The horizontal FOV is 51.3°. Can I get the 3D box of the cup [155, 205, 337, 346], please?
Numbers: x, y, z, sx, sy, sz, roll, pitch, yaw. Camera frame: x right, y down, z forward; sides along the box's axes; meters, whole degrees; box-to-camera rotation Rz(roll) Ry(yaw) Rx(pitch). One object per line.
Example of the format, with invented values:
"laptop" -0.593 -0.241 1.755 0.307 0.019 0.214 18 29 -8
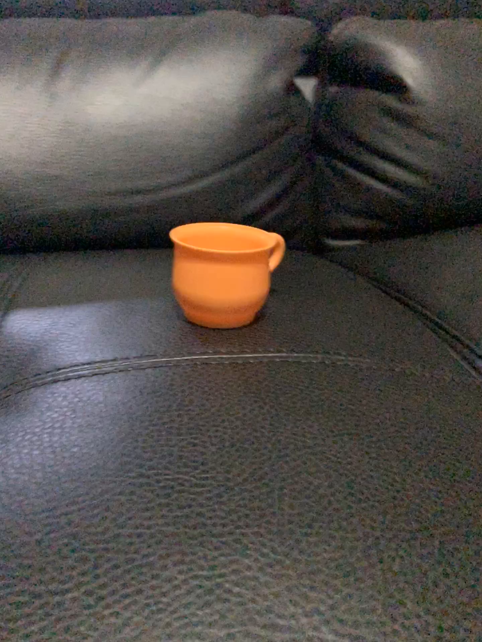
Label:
"cup" 0.003 -0.031 0.288 0.063 0.046 0.081 26 35 37
